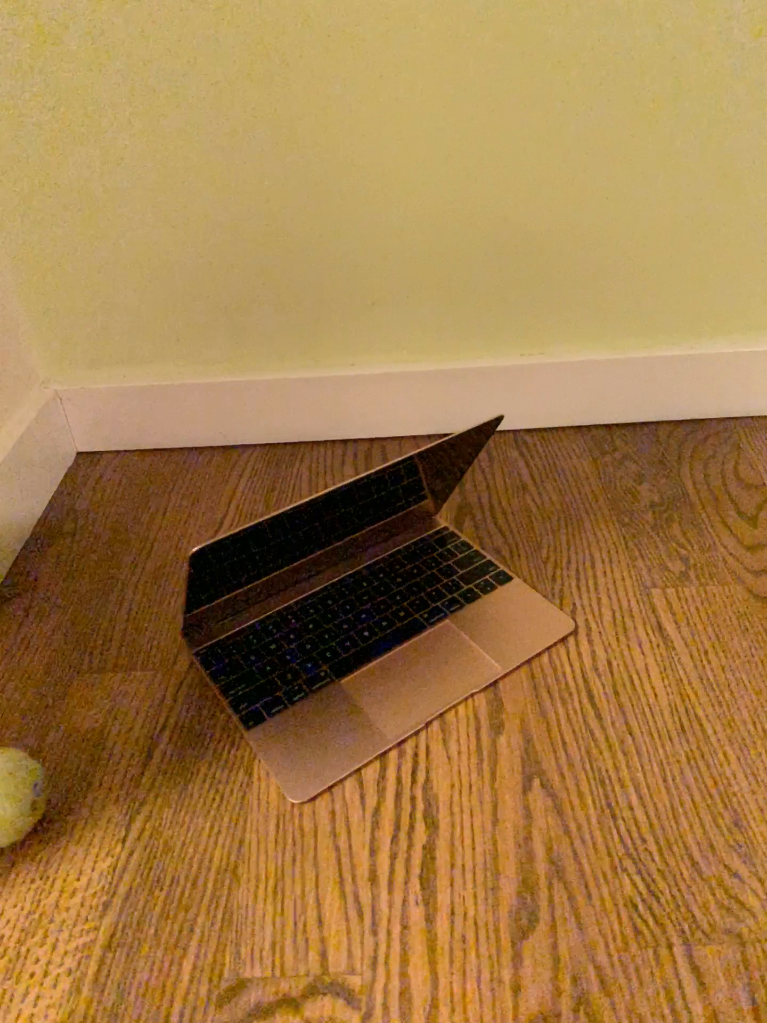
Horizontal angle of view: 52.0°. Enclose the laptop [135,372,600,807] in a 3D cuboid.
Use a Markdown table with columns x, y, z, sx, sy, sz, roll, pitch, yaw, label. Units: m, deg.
| x | y | z | sx | sy | sz | roll | pitch | yaw | label |
| --- | --- | --- | --- | --- | --- | --- | --- | --- | --- |
| -0.009 | 0.041 | 0.645 | 0.288 | 0.168 | 0.207 | -25 | 41 | -26 | laptop |
